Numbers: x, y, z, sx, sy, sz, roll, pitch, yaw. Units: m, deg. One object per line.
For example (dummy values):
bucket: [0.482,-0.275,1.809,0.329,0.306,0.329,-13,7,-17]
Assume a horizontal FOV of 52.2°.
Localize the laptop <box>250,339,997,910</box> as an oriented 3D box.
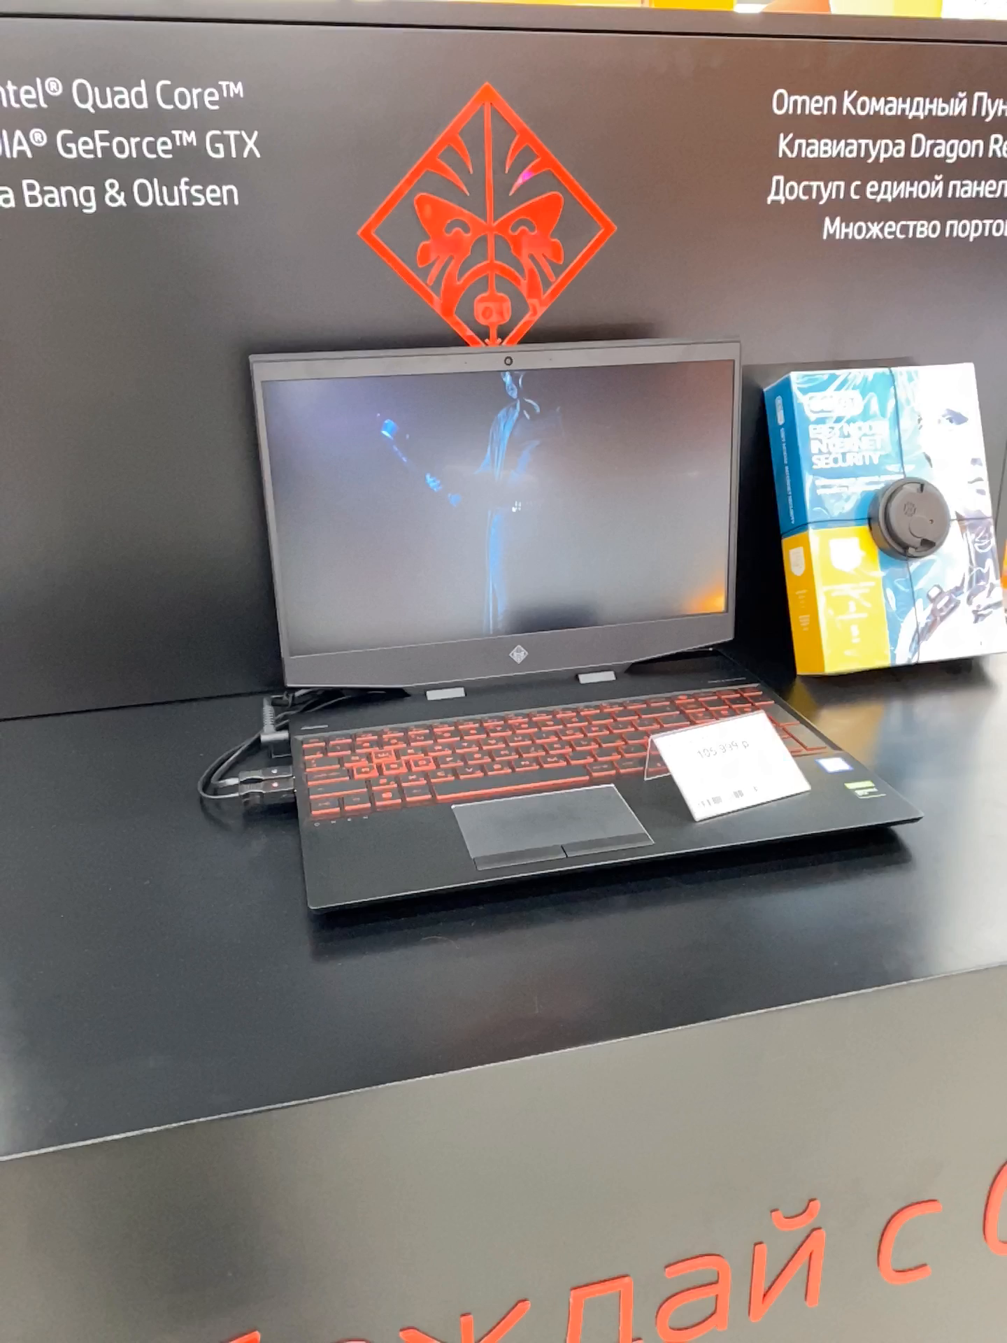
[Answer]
laptop: [0.039,-0.067,0.658,0.358,0.247,0.303,-6,22,-13]
